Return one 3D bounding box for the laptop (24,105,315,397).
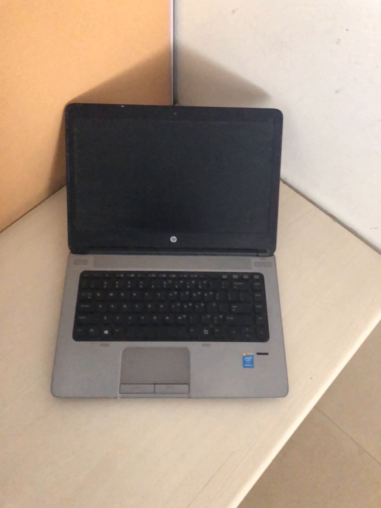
[{"bbox_3d":[-0.022,-0.015,0.598,0.316,0.125,0.392,1,63,-2],"label":"laptop"}]
